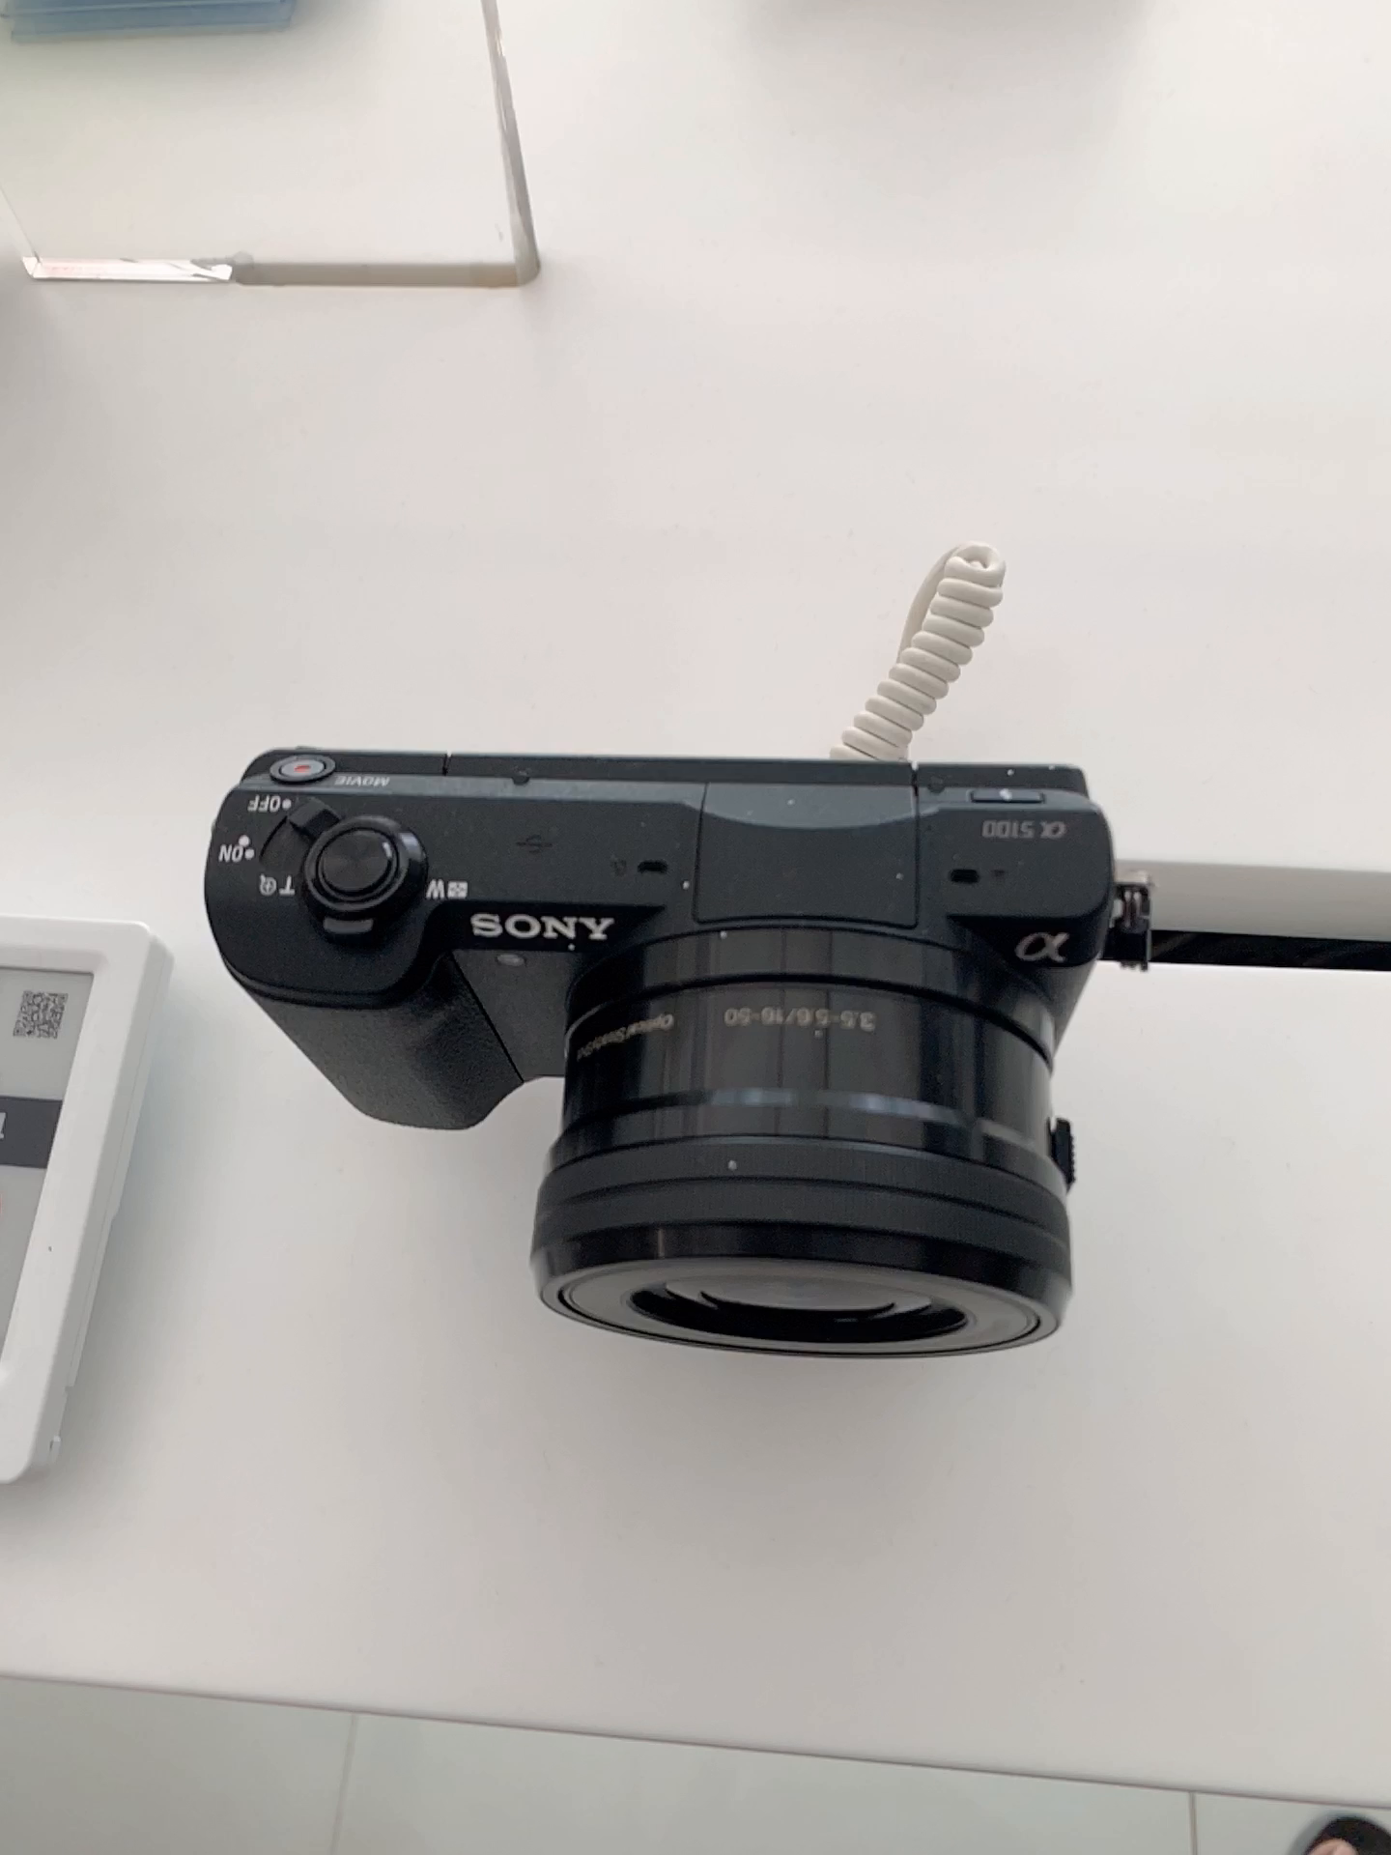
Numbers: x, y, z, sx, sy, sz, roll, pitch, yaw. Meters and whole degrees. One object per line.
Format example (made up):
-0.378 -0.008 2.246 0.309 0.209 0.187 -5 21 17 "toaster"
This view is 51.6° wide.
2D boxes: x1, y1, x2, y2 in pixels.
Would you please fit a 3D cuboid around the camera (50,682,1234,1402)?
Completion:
-0.002 0.019 0.182 0.110 0.080 0.060 3 64 5 "camera"
